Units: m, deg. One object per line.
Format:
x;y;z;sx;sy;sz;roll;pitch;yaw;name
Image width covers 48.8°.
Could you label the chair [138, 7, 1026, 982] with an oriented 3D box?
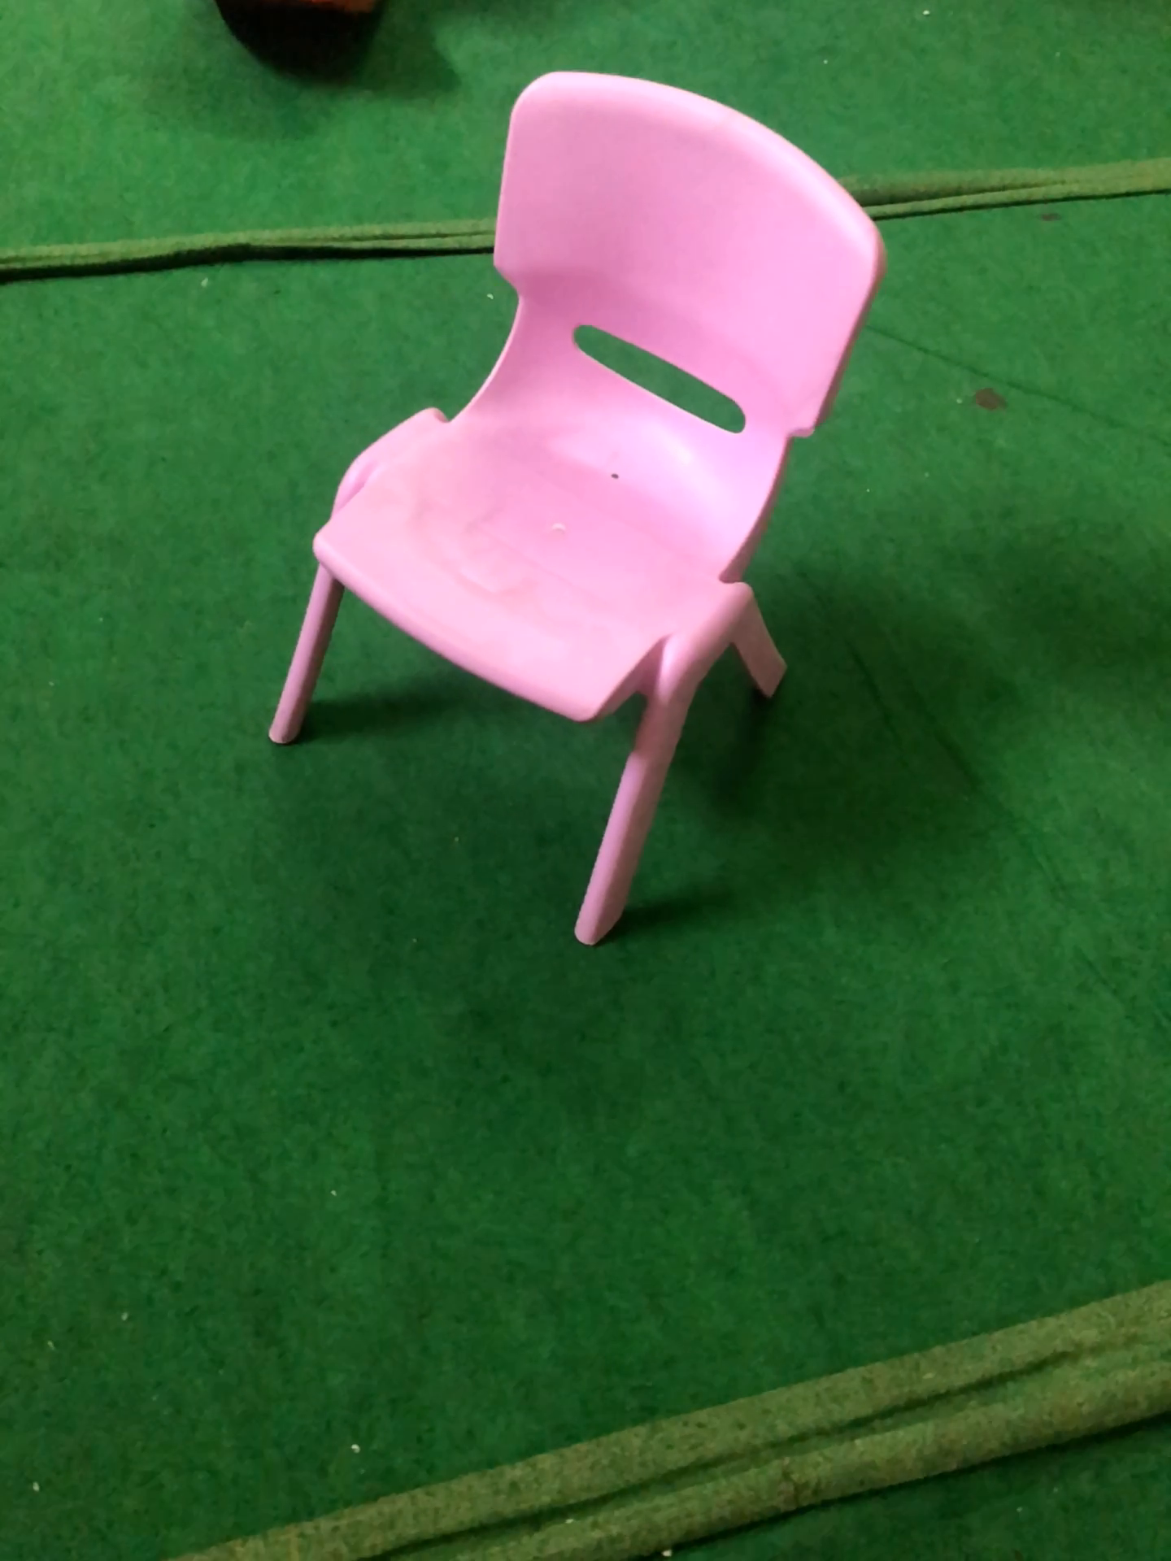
-0.005;-0.198;0.964;0.380;0.449;0.411;30;58;12;chair
